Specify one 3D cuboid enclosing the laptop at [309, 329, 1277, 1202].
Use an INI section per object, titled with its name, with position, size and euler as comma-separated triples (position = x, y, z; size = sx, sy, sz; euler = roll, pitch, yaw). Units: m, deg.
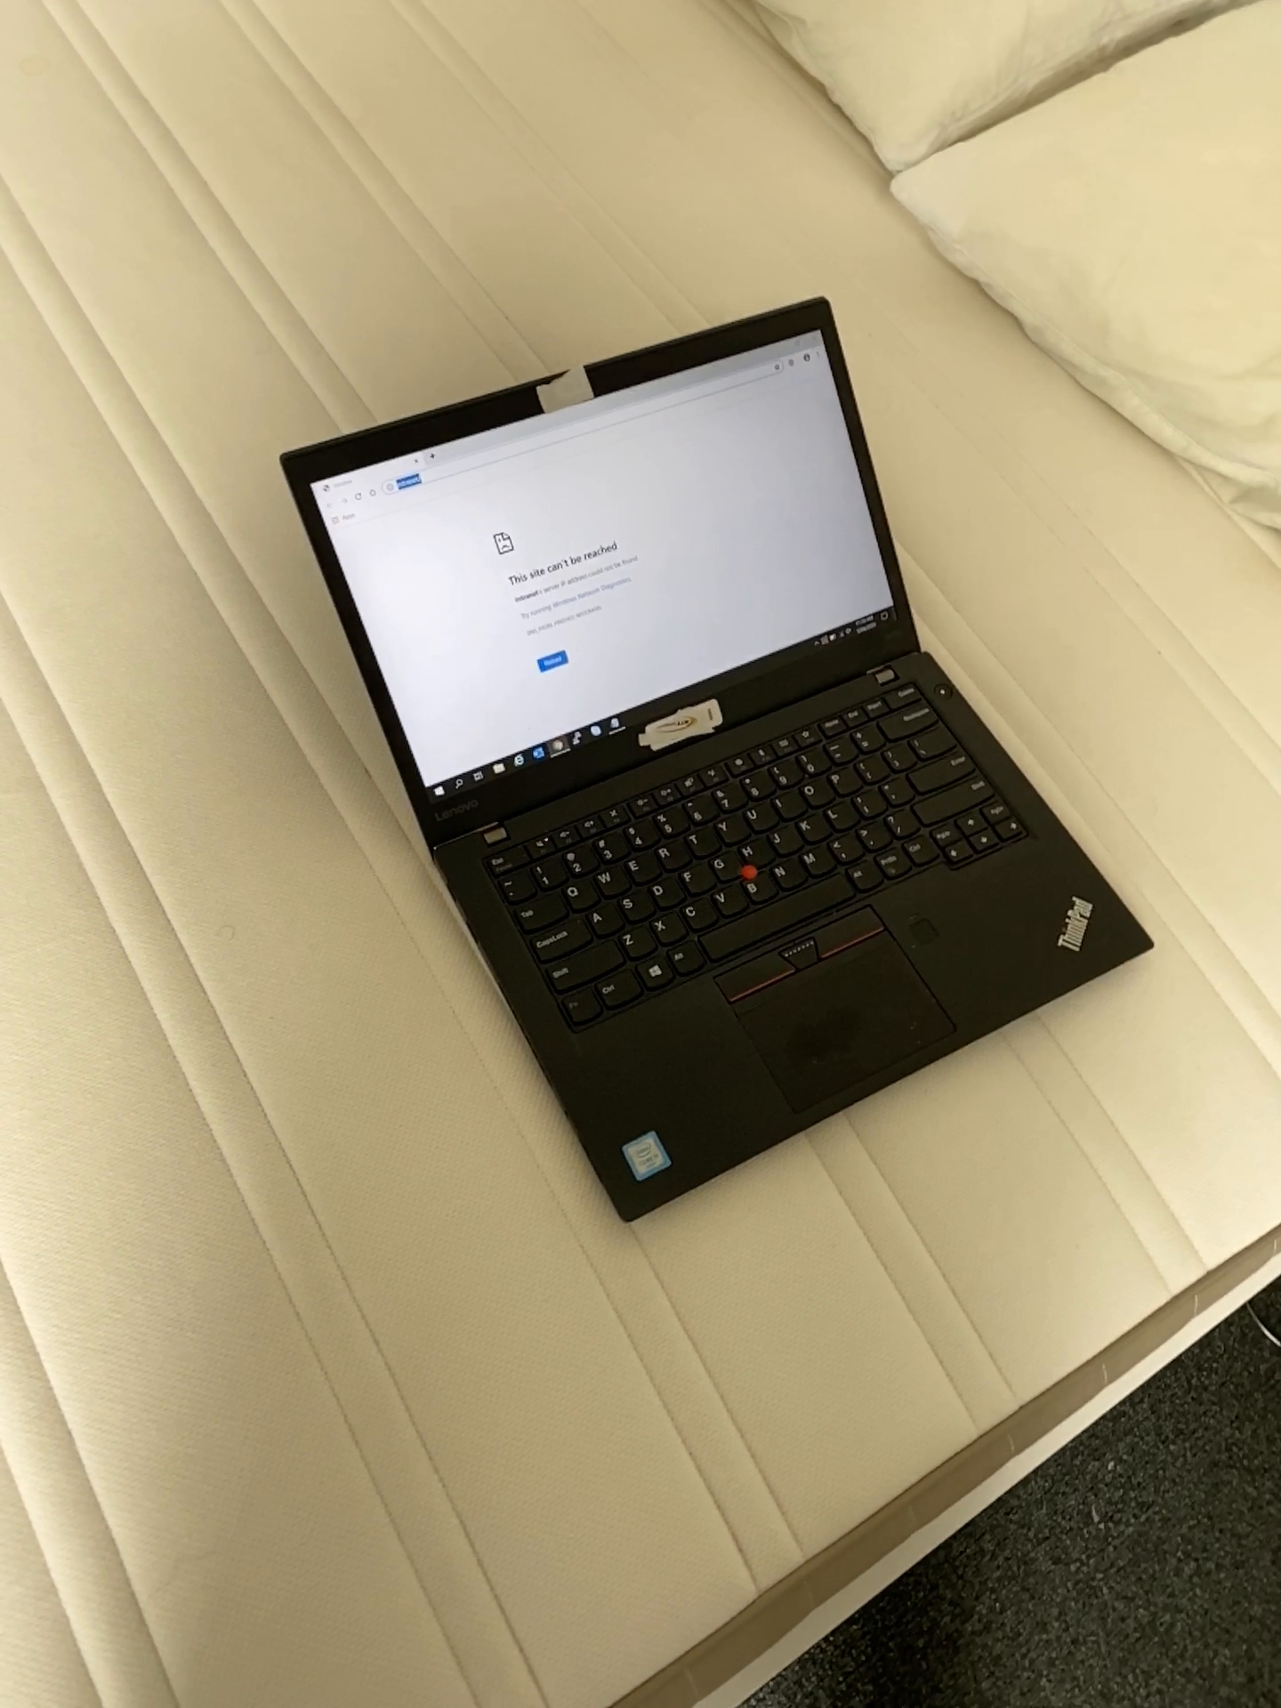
[laptop]
position = 0.059, -0.073, 0.684
size = 0.320, 0.120, 0.381
euler = -23, 64, -20
